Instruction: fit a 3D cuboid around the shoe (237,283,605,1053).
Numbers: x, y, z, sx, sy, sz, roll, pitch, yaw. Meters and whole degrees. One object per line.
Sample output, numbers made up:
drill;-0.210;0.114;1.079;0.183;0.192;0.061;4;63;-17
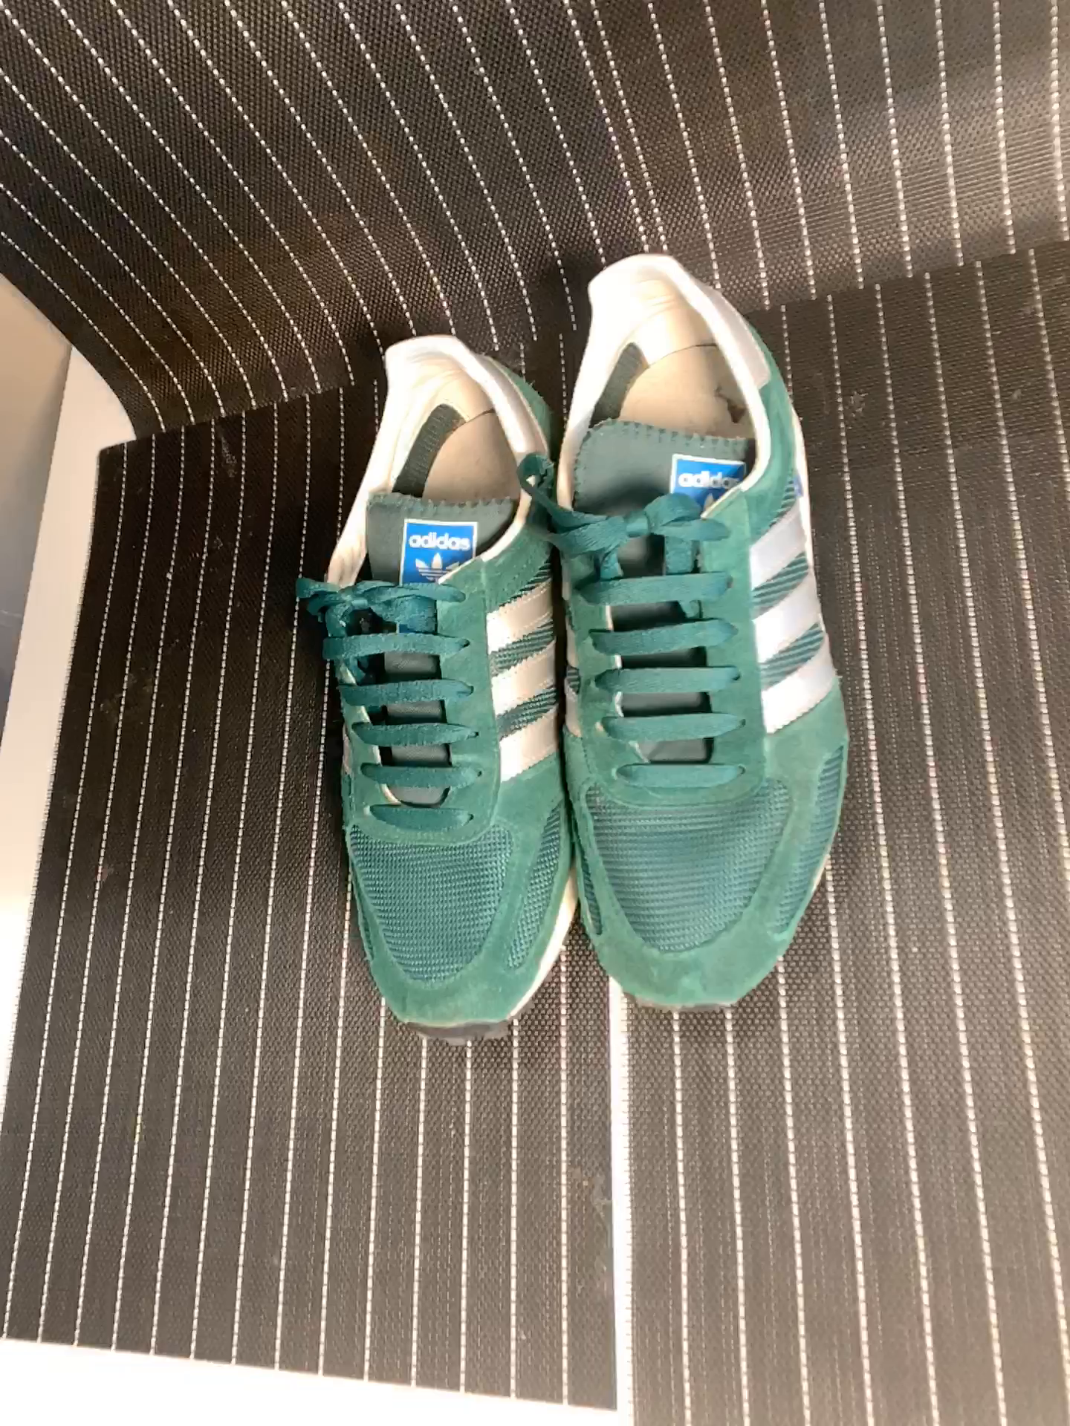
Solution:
shoe;-0.035;-0.016;0.448;0.100;0.090;0.290;-5;71;21

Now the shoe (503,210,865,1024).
shoe;0.063;-0.028;0.427;0.100;0.120;0.280;-5;71;21
